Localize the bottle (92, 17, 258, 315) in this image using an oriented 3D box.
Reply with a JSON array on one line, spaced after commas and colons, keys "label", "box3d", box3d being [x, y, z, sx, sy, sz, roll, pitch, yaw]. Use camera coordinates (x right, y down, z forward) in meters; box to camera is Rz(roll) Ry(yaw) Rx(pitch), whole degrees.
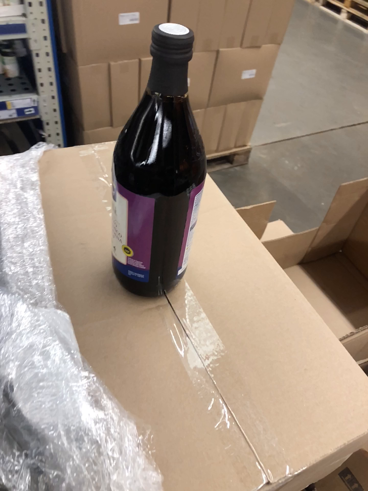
[{"label": "bottle", "box3d": [-0.023, -0.057, 0.380, 0.090, 0.257, 0.090, 4, 46, -5]}]
